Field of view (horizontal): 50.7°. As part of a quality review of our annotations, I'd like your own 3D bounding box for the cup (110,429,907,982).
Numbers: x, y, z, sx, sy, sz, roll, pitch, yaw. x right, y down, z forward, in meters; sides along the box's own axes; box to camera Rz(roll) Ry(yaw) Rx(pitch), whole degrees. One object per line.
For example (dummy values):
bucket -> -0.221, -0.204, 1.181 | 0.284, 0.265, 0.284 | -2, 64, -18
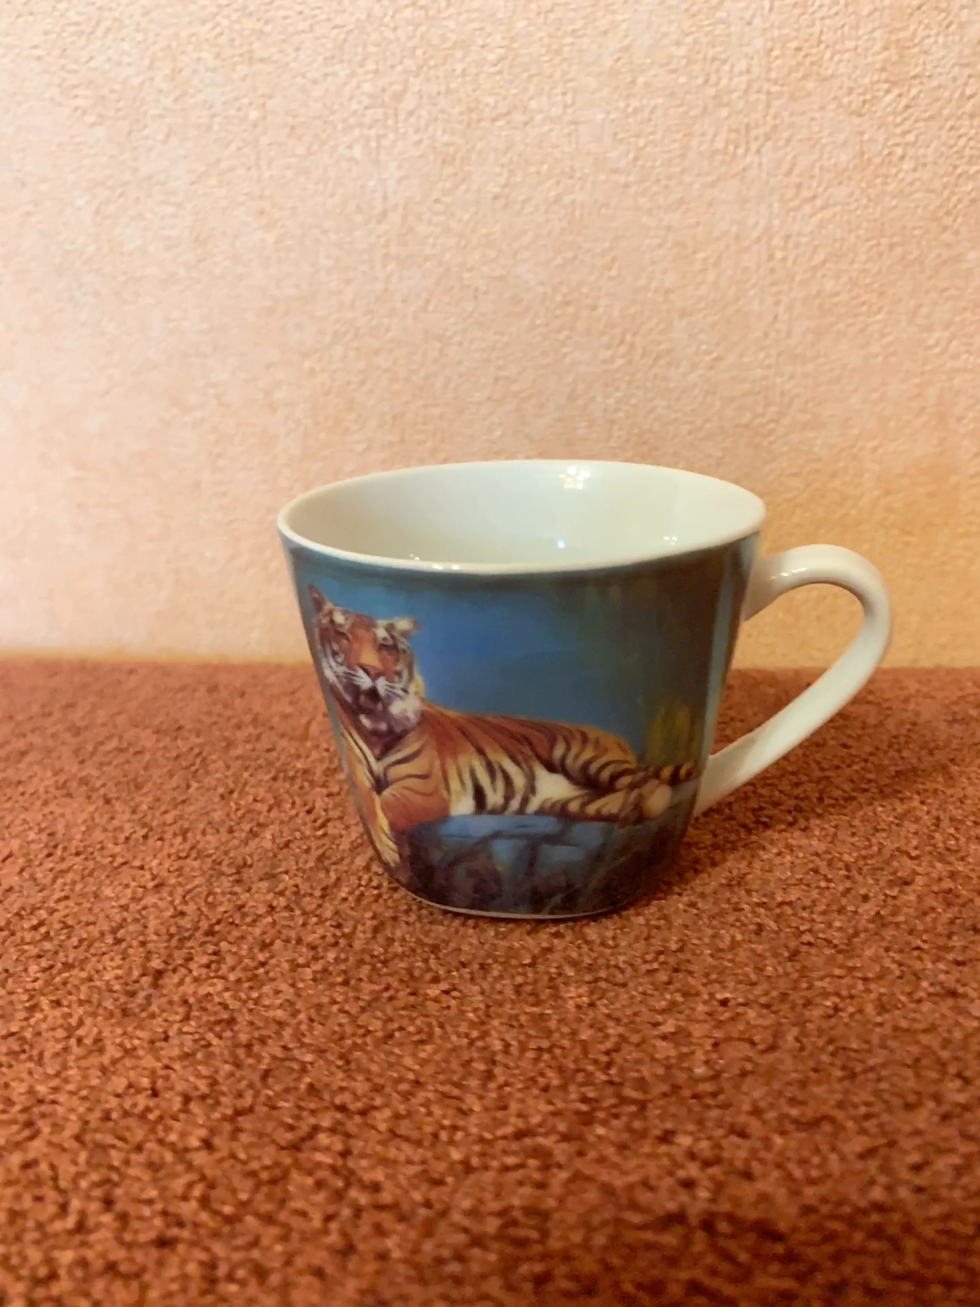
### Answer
cup -> 0.008, 0.000, 0.146 | 0.083, 0.048, 0.072 | 0, 21, 14
